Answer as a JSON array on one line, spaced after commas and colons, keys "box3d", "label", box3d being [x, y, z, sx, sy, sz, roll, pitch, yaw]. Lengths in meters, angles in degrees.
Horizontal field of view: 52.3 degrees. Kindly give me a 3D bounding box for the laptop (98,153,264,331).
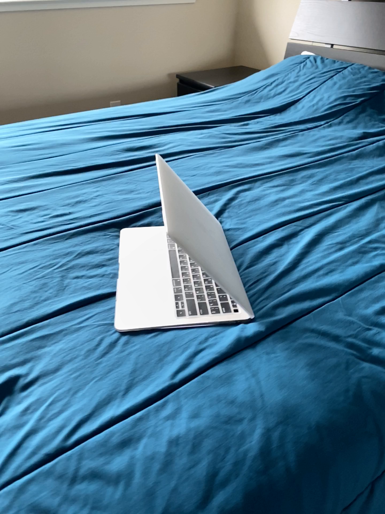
[{"box3d": [-0.029, -0.046, 0.673, 0.215, 0.161, 0.297, -4, 34, -6], "label": "laptop"}]
